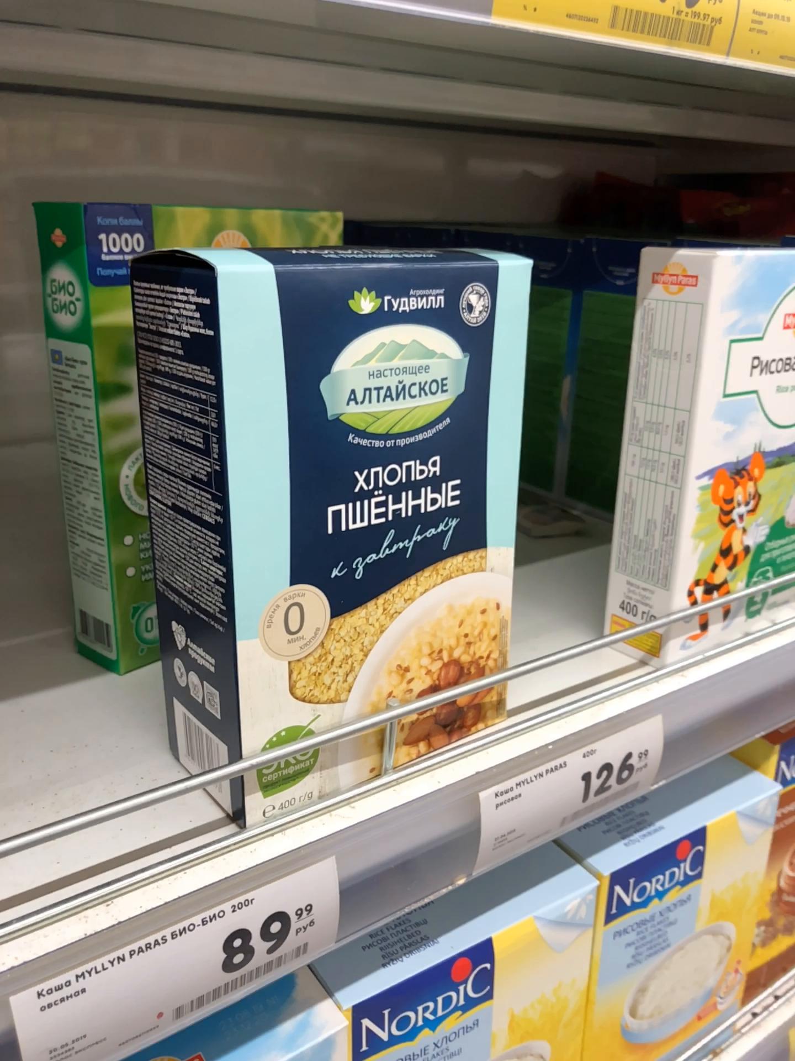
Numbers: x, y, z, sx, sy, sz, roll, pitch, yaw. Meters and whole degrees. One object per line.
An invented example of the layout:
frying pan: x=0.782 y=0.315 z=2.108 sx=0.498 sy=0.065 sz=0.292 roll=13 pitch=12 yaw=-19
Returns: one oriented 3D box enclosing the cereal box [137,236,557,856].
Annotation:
cereal box: x=-0.015 y=-0.004 z=0.330 sx=0.130 sy=0.199 sz=0.060 roll=-13 pitch=24 yaw=-36
